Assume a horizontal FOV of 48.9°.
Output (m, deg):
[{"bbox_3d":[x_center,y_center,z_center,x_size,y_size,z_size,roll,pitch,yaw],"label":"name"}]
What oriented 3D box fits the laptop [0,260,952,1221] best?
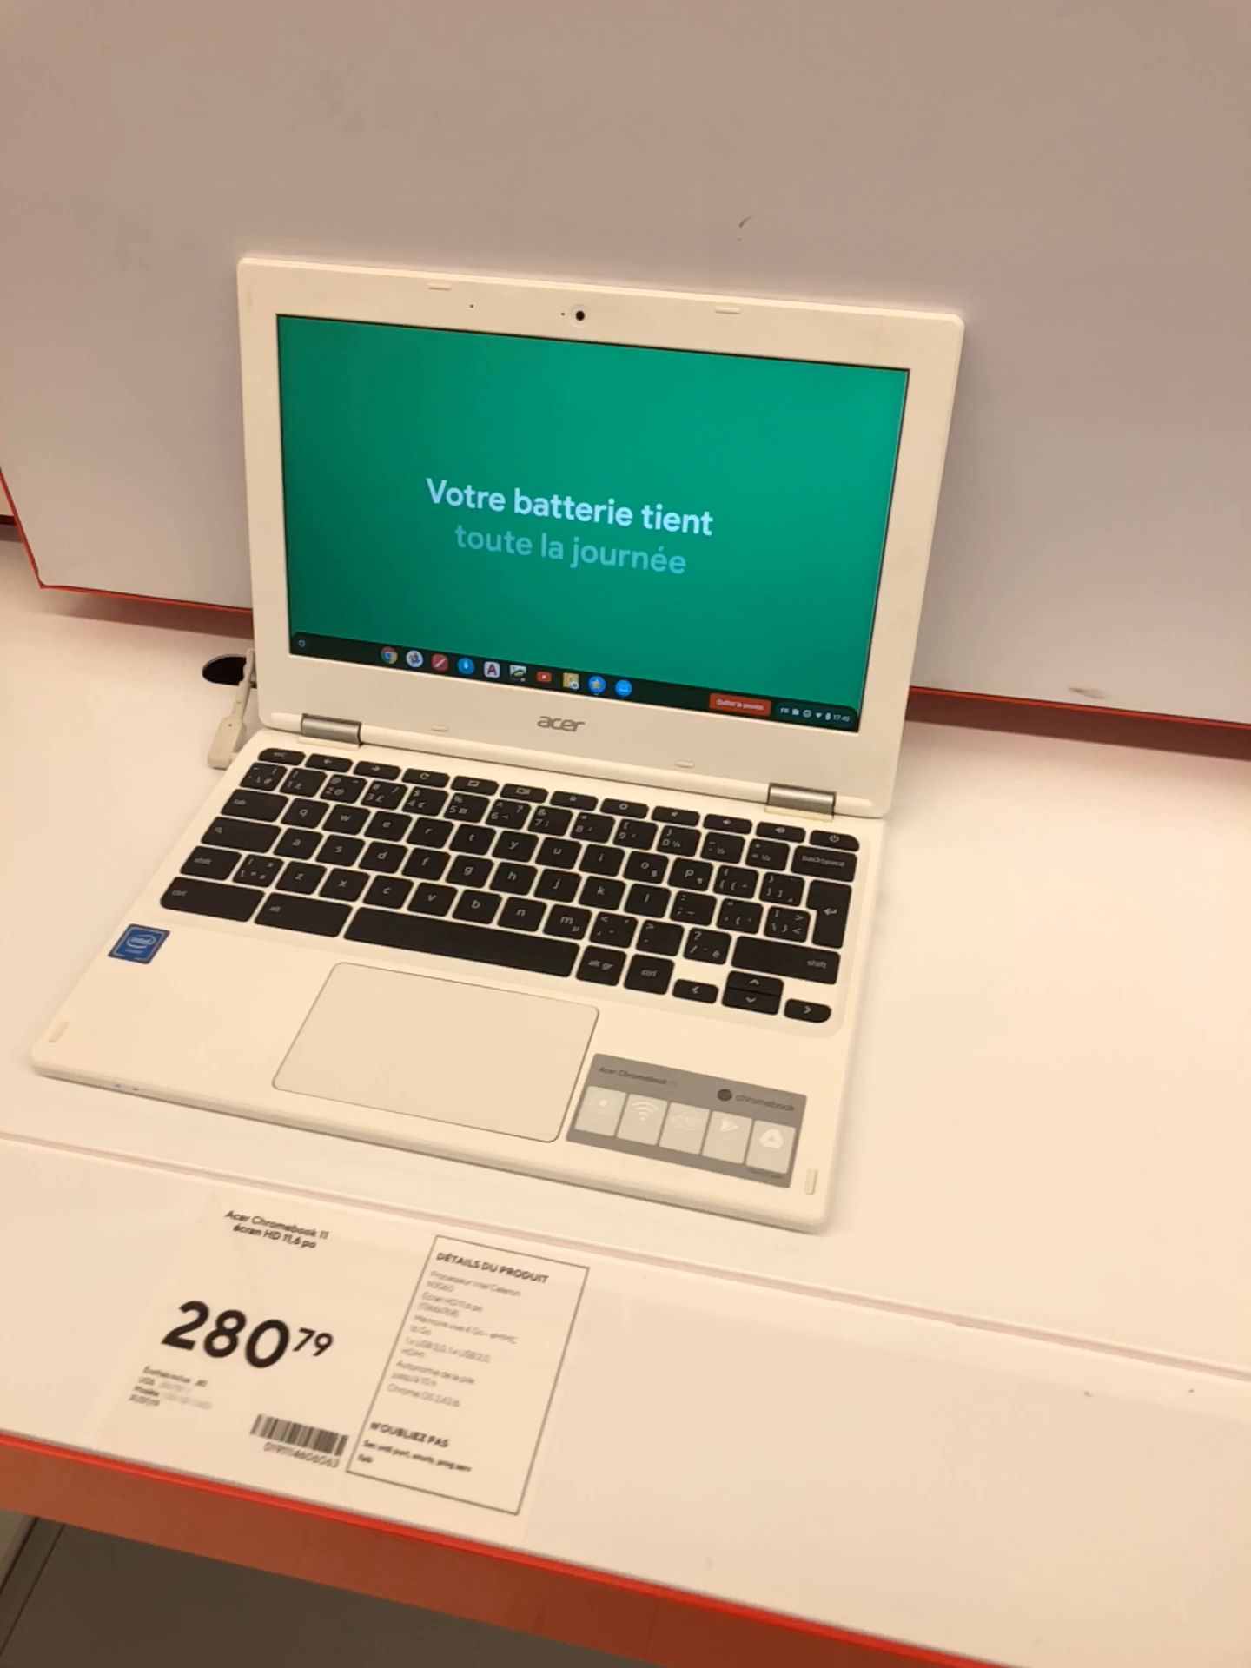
[{"bbox_3d":[-0.048,-0.053,0.494,0.282,0.188,0.260,9,44,11],"label":"laptop"}]
